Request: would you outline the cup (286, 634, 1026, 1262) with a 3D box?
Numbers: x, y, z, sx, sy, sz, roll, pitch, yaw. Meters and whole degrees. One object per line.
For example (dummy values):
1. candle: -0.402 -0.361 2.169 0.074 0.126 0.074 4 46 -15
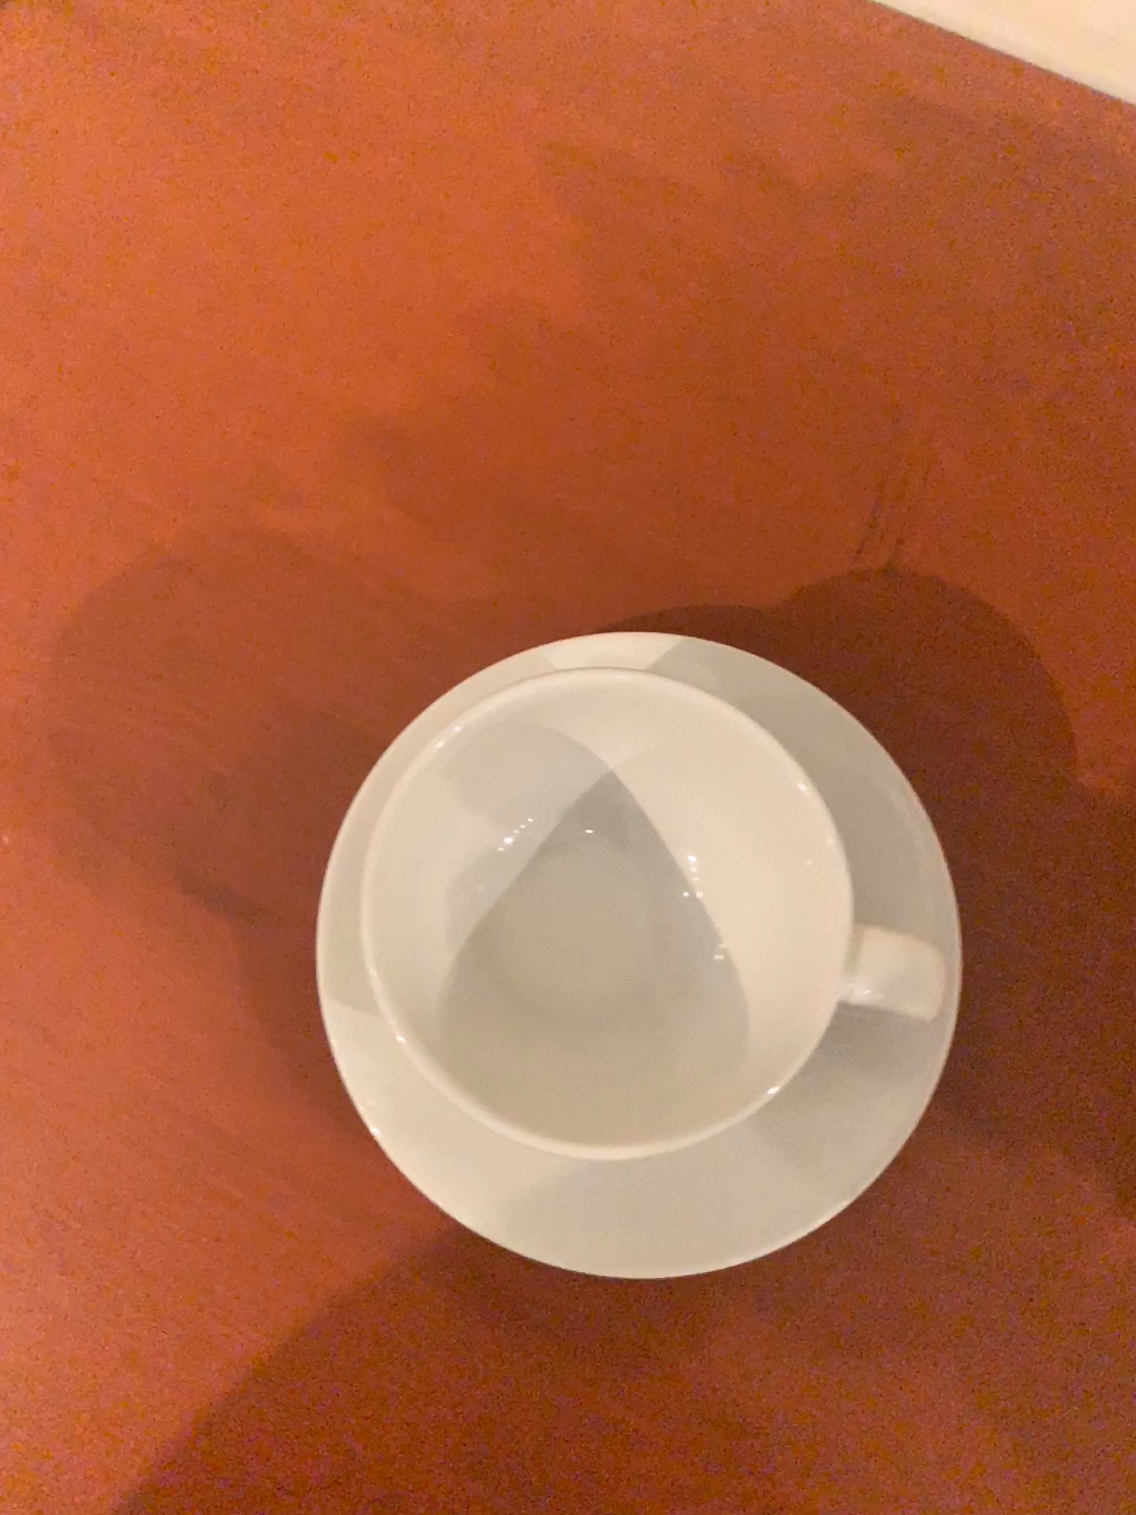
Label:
1. cup: 0.017 0.035 0.225 0.110 0.050 0.080 15 75 3
